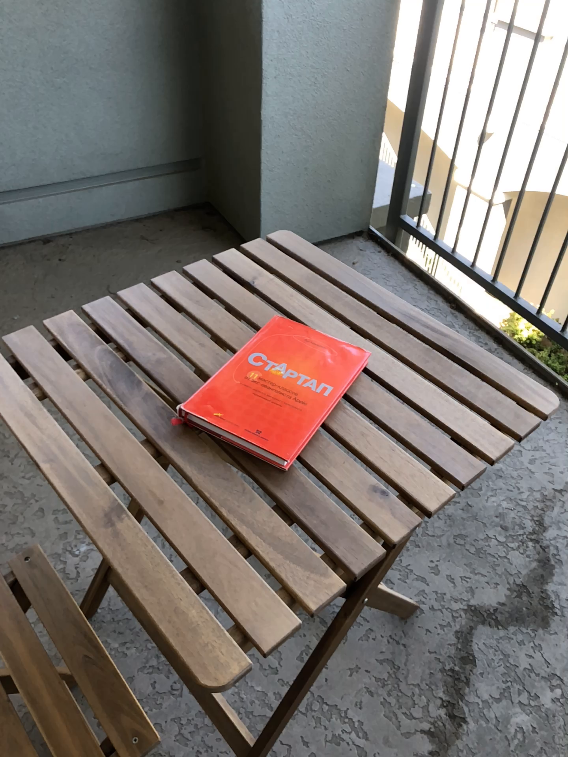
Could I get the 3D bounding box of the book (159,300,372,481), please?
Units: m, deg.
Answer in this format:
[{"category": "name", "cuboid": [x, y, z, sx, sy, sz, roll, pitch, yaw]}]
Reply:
[{"category": "book", "cuboid": [-0.017, 0.003, 0.844, 0.180, 0.050, 0.241, 23, 47, 21]}]
